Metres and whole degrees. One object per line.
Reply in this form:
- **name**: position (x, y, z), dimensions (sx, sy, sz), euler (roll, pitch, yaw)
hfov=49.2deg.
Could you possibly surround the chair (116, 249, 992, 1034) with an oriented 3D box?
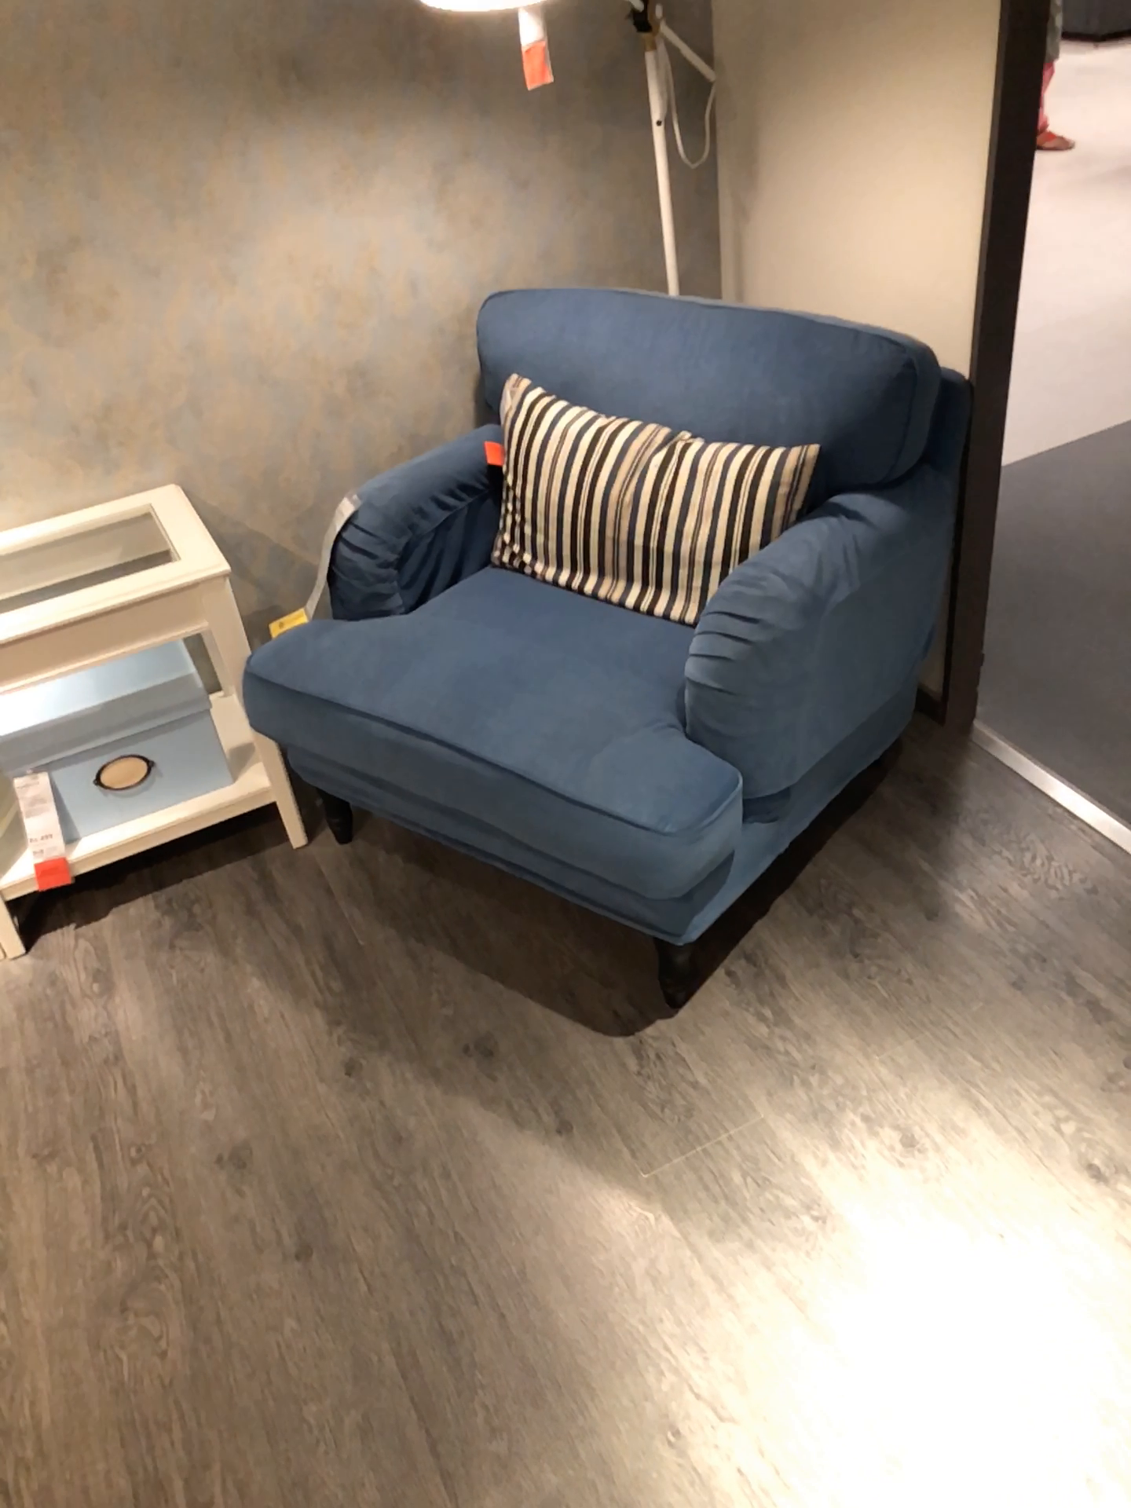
- **chair**: position (0.021, -0.260, 1.877), dimensions (0.893, 0.695, 0.803), euler (20, 44, 33)
